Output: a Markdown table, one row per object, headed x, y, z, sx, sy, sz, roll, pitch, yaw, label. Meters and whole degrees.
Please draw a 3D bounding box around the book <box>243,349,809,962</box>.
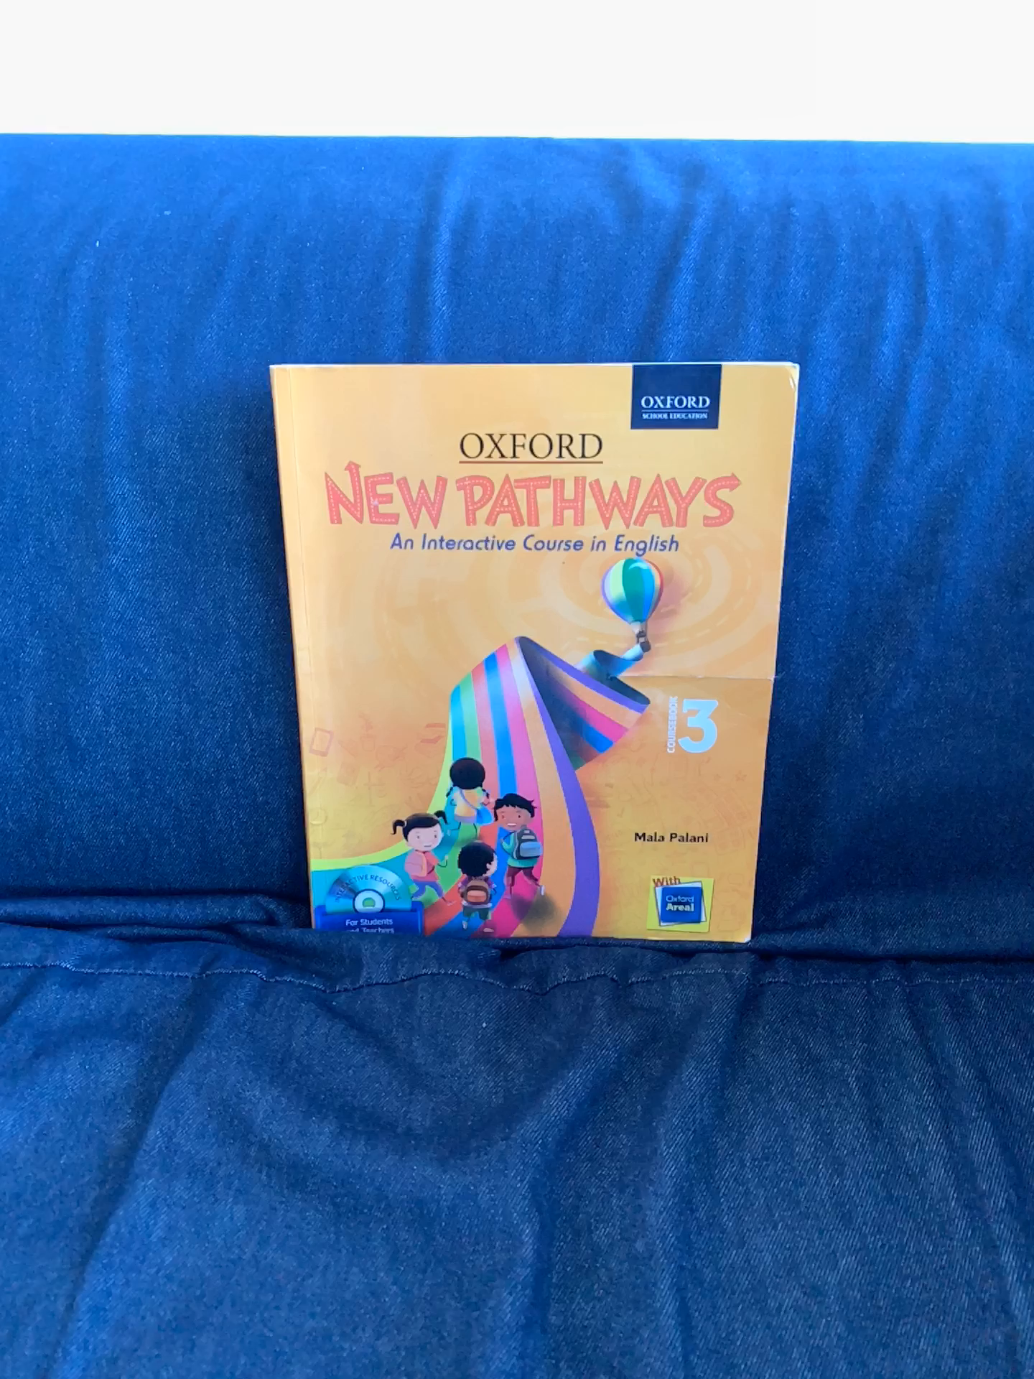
| x | y | z | sx | sy | sz | roll | pitch | yaw | label |
| --- | --- | --- | --- | --- | --- | --- | --- | --- | --- |
| 0.002 | -0.007 | 0.490 | 0.230 | 0.283 | 0.030 | 1 | 19 | 0 | book |
